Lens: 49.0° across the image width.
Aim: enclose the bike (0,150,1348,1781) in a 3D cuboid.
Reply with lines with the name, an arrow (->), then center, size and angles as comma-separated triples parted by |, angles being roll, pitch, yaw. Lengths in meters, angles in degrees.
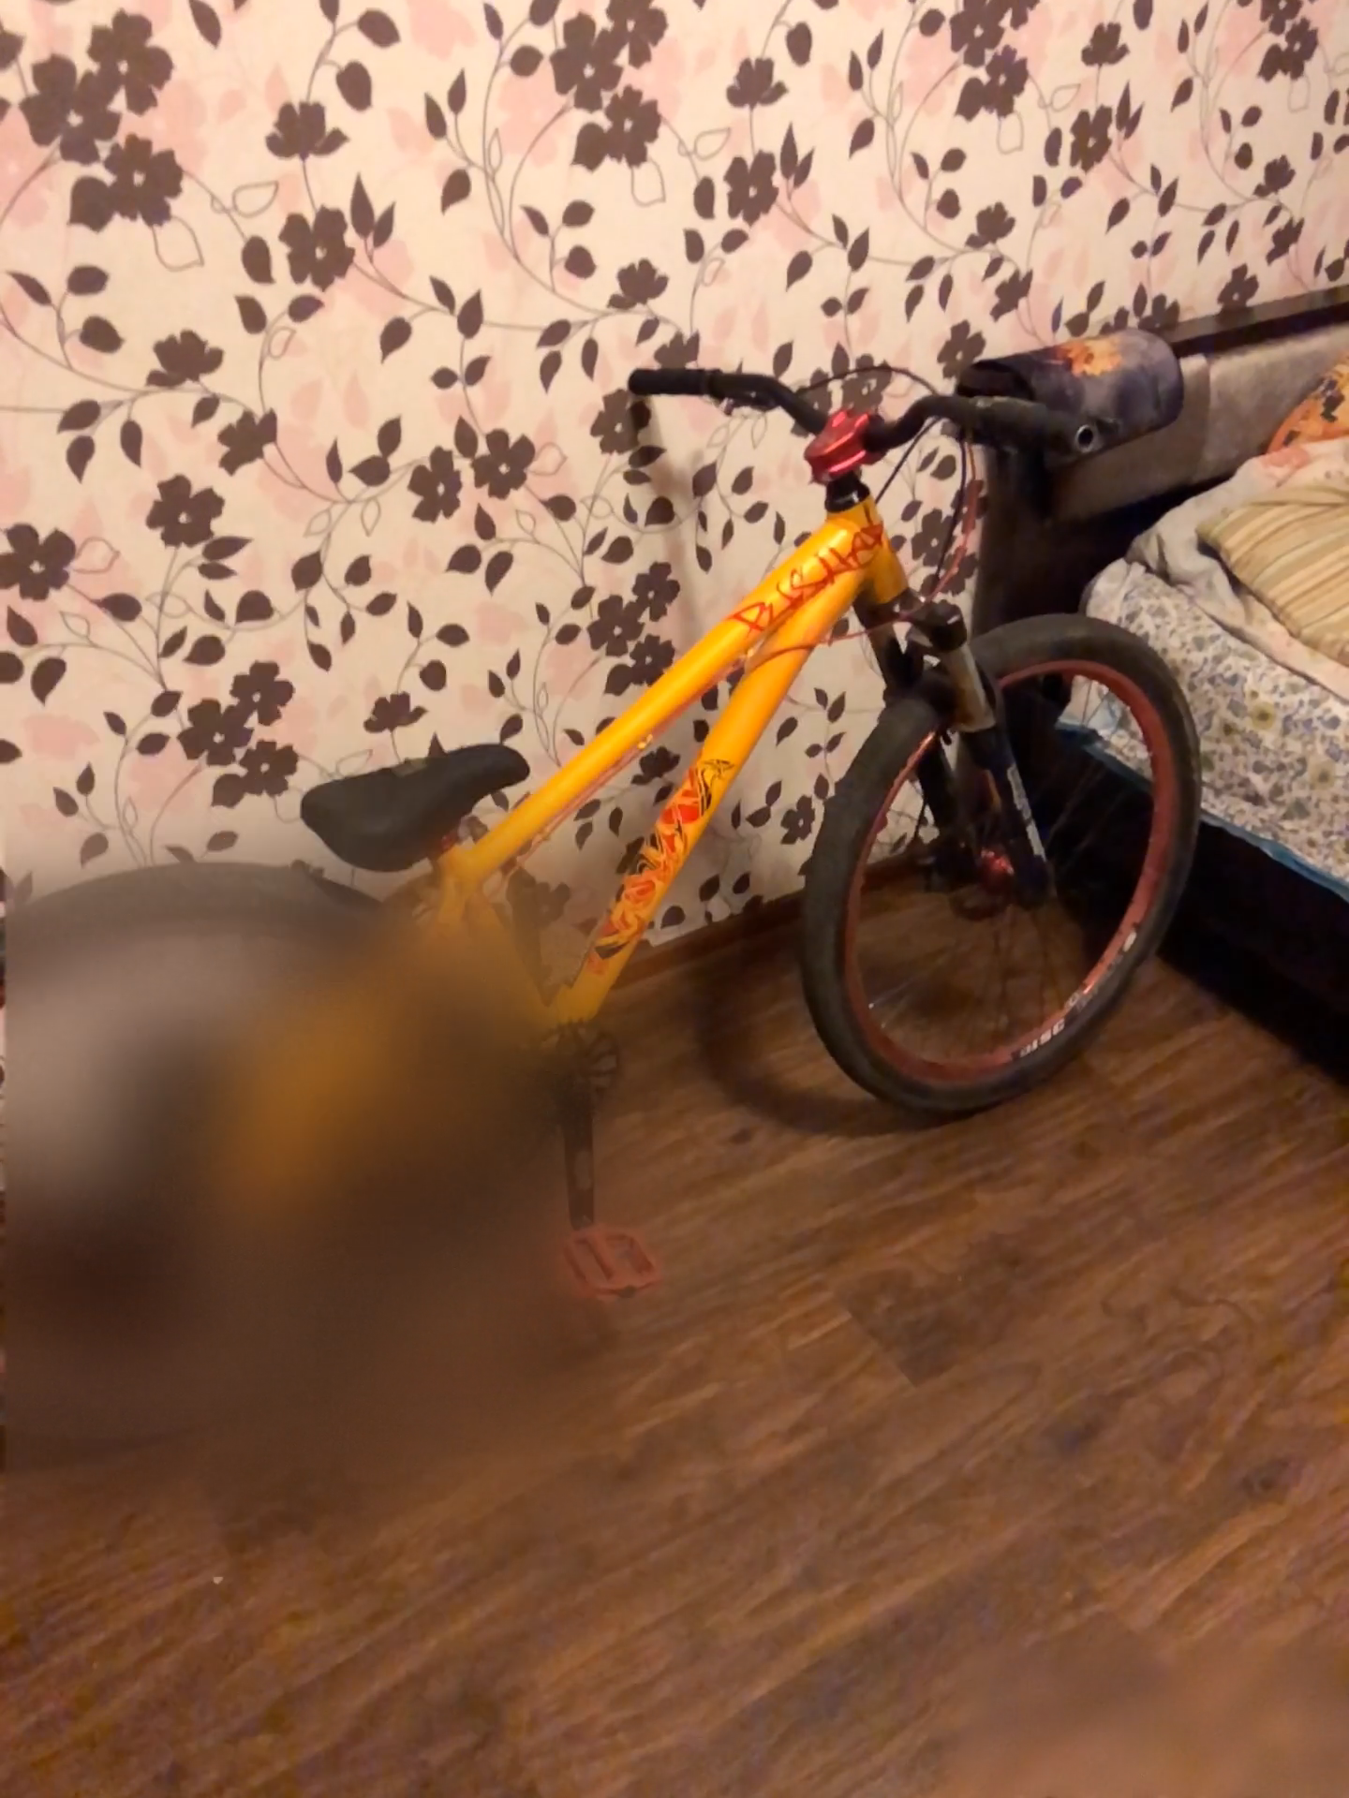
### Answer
bike -> -0.050, -0.055, 1.571 | 1.677, 1.005, 0.663 | -21, 39, -21
